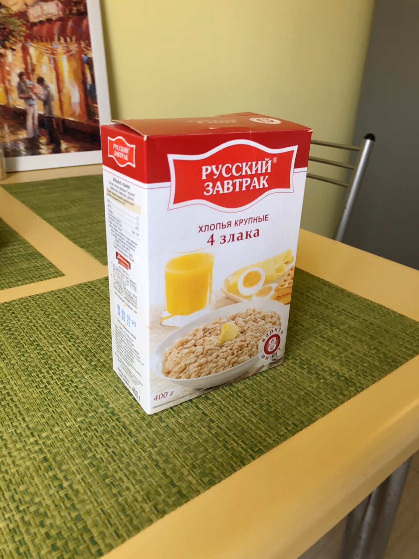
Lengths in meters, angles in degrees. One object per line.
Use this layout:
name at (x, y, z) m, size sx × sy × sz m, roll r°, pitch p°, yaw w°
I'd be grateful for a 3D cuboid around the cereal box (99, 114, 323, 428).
cereal box at (-0.002, -0.014, 0.341) m, size 0.130 × 0.199 × 0.070 m, roll -13°, pitch 28°, yaw -32°
